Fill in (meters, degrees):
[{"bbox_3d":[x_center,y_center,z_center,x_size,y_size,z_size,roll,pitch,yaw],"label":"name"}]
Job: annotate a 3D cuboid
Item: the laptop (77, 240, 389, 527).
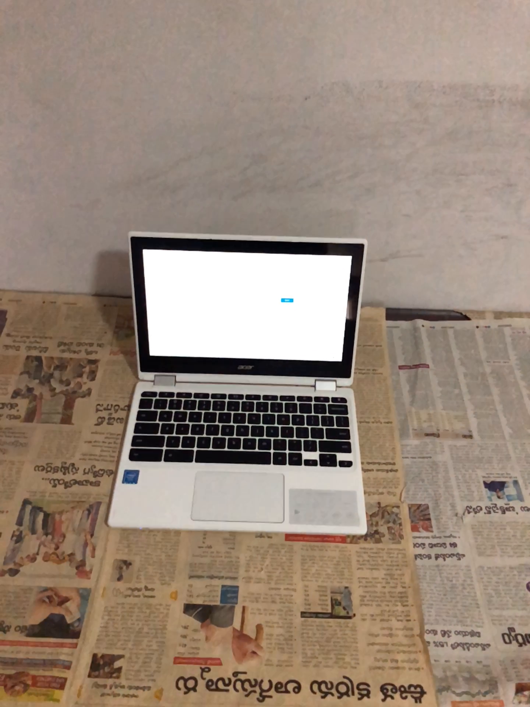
[{"bbox_3d":[-0.026,0.027,0.657,0.268,0.168,0.279,2,49,0],"label":"laptop"}]
